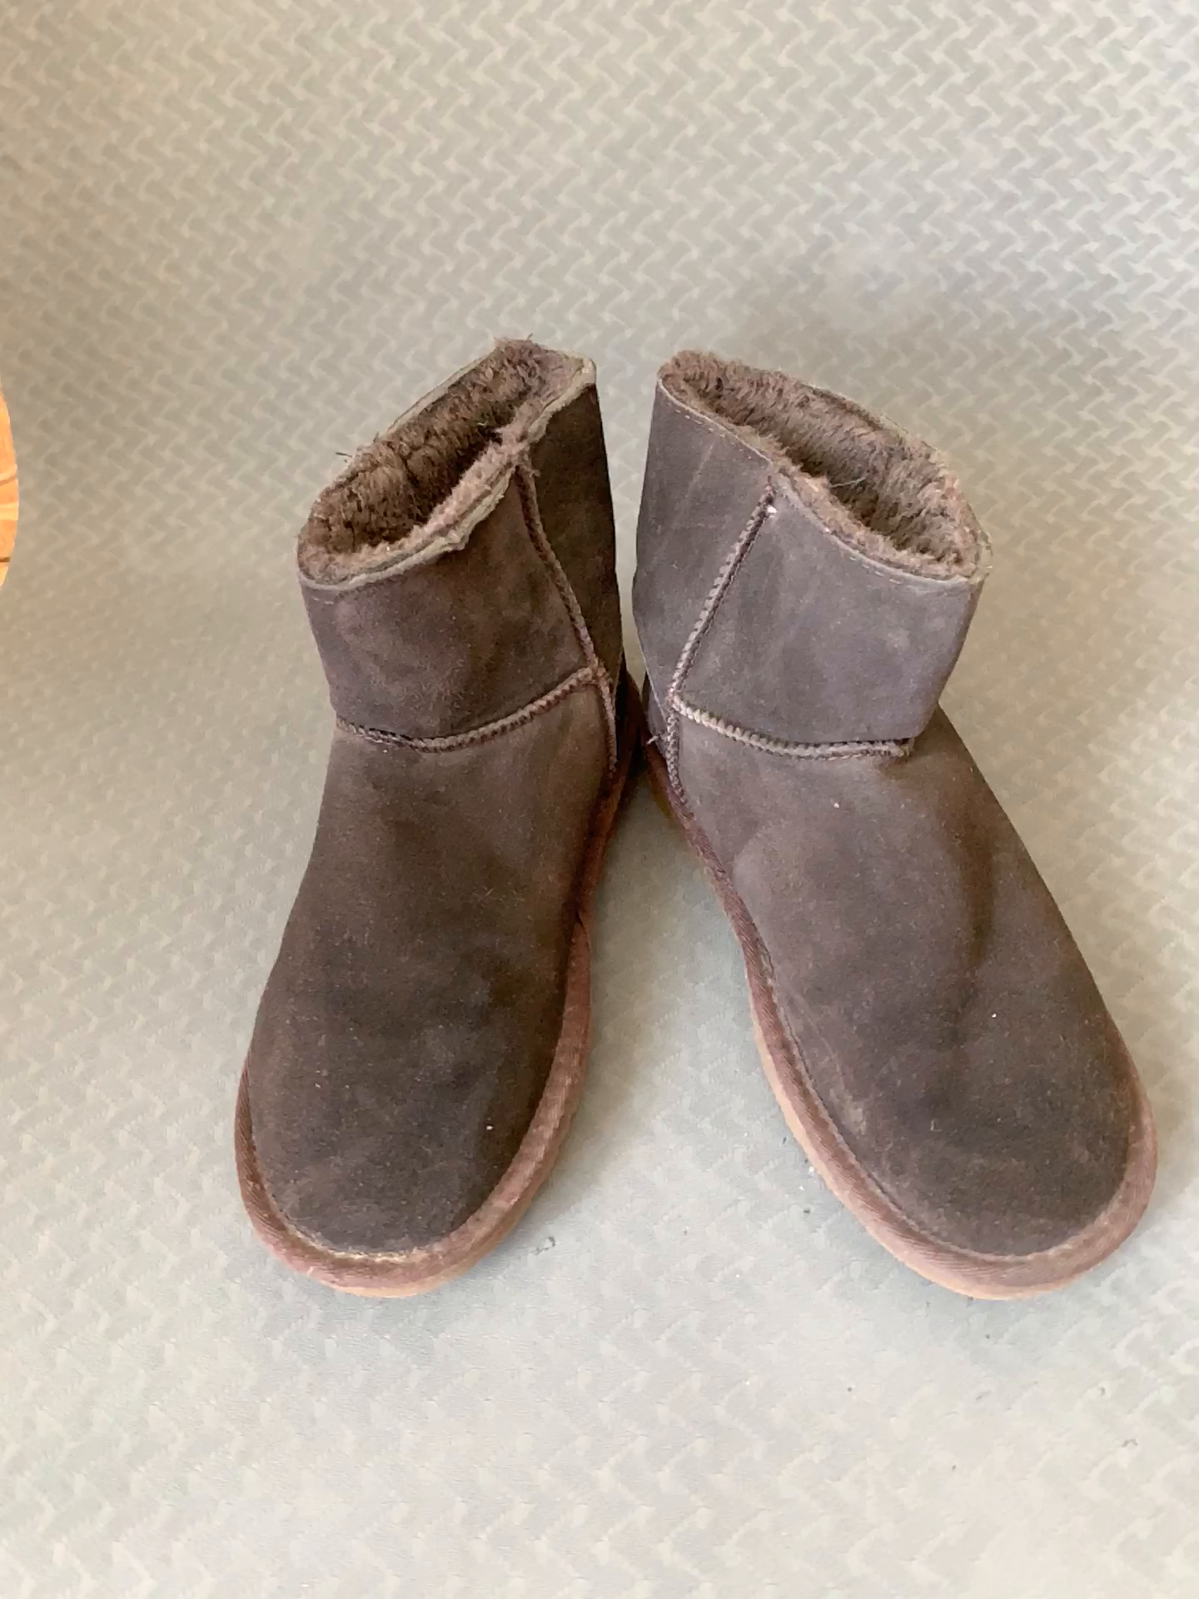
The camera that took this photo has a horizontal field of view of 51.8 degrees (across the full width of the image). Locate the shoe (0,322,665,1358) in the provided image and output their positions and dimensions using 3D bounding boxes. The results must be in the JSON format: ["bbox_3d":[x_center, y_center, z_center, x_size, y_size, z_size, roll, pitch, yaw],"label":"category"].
[{"bbox_3d":[-0.049,-0.002,0.351,0.100,0.139,0.254,5,51,8],"label":"shoe"}]

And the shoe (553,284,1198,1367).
[{"bbox_3d":[0.079,-0.007,0.342,0.100,0.139,0.254,-17,51,-10],"label":"shoe"}]
